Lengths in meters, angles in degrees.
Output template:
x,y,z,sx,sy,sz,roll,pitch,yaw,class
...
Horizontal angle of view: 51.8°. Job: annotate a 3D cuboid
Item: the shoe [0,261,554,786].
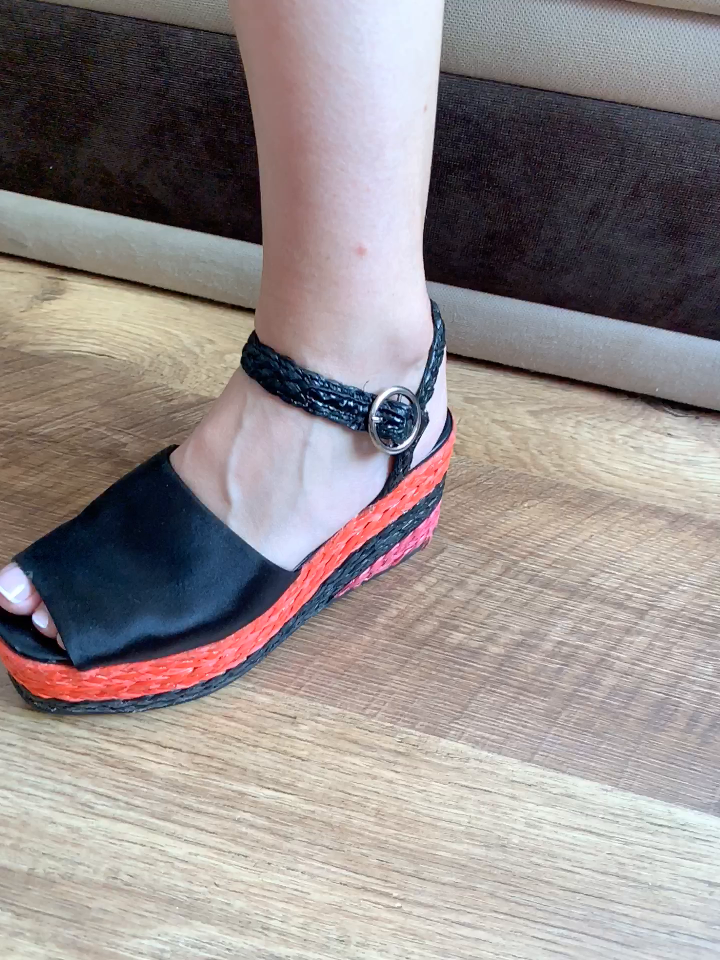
x,y,z,sx,sy,sz,roll,pitch,yaw,class
-0.045,0.007,0.331,0.240,0.124,0.089,-25,54,-28,shoe
